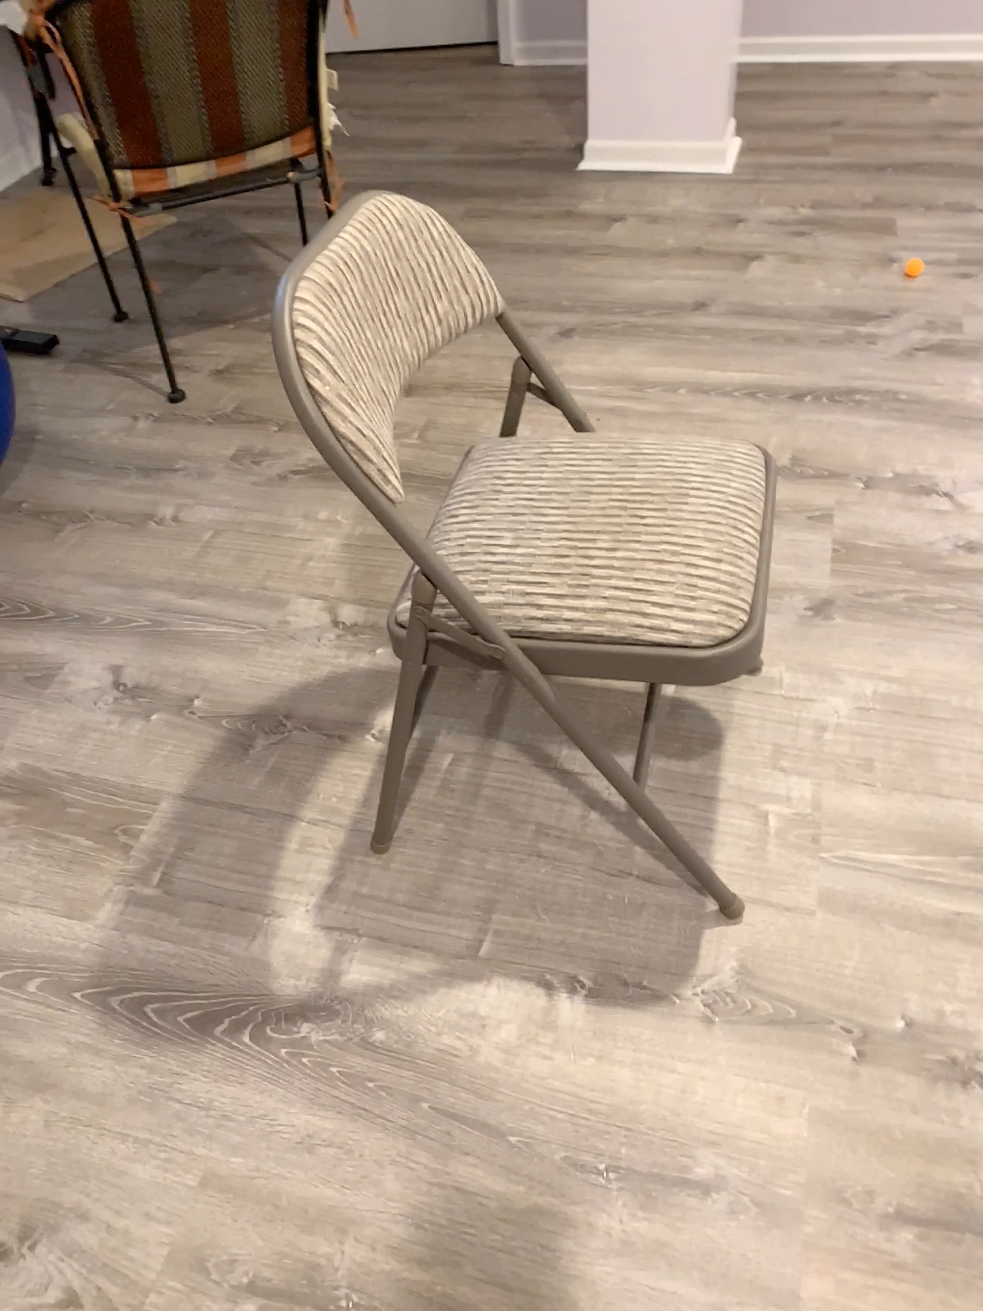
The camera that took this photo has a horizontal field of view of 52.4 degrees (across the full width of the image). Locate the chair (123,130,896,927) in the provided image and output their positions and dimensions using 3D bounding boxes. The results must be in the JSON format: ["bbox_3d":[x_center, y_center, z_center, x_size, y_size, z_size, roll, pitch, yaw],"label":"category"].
[{"bbox_3d":[0.073,-0.137,1.158,0.584,0.708,0.505,5,45,12],"label":"chair"}]
